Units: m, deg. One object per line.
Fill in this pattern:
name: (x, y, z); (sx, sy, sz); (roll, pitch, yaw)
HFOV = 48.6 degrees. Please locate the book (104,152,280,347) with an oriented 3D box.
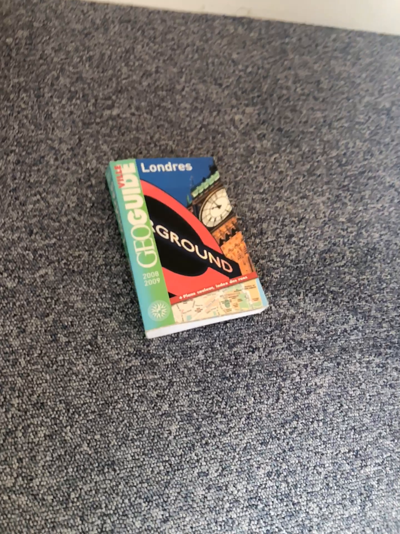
book: (-0.015, -0.030, 0.455); (0.130, 0.030, 0.201); (-8, 62, -19)
